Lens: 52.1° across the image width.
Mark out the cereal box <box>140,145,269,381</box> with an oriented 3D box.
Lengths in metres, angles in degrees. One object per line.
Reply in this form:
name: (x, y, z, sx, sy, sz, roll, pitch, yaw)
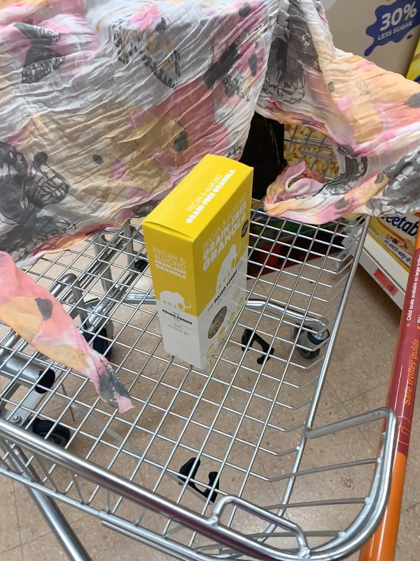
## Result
cereal box: (0.001, -0.012, 0.458, 0.060, 0.208, 0.131, 21, 50, 20)
